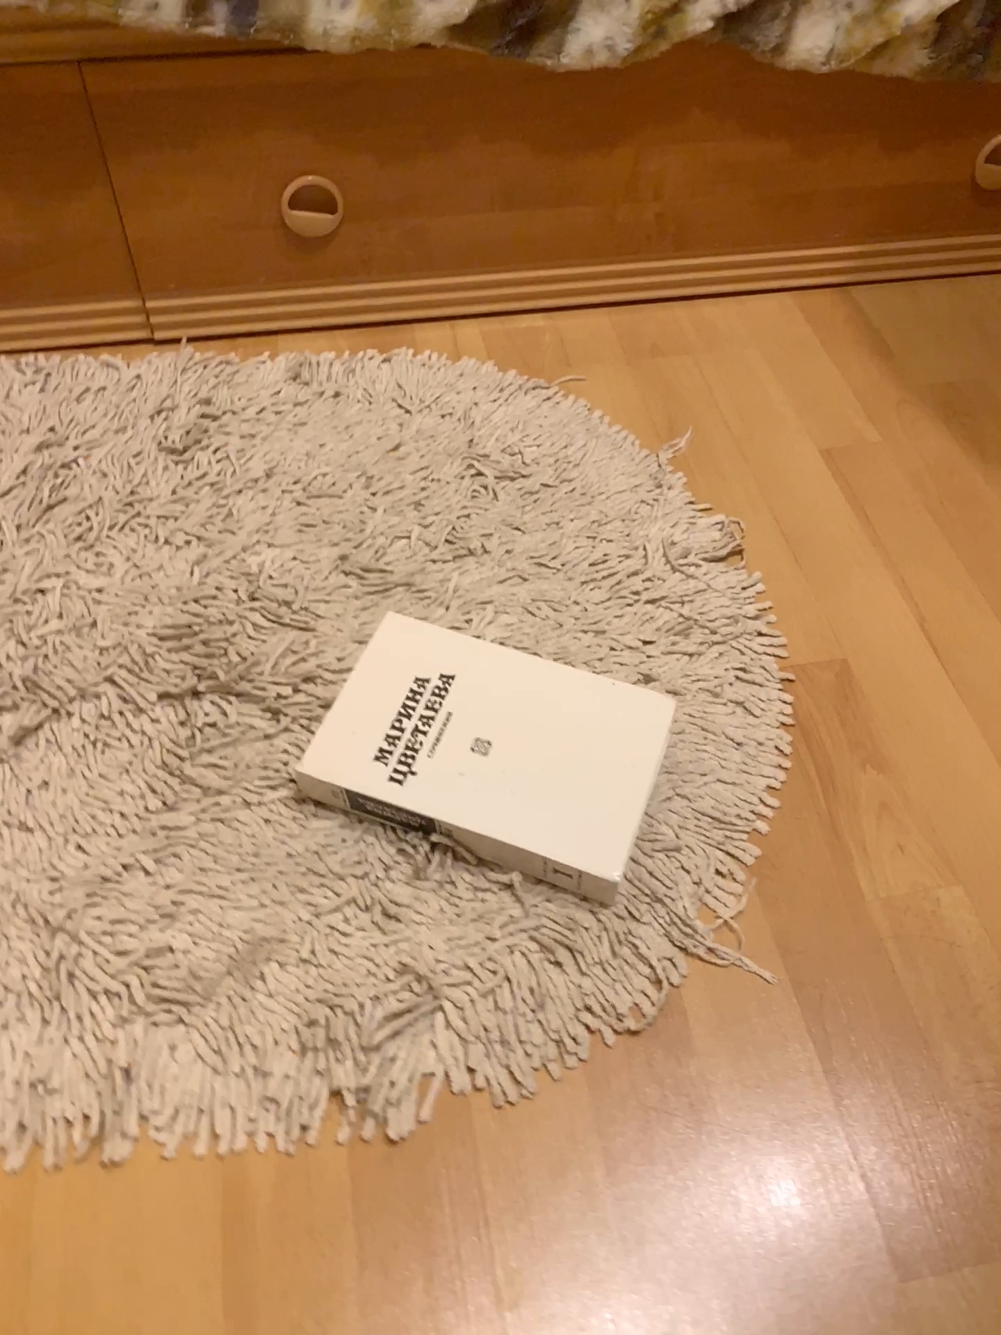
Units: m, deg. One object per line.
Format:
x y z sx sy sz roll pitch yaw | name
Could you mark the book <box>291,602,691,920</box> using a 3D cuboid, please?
-0.002 0.051 0.639 0.208 0.040 0.141 18 53 12 | book
